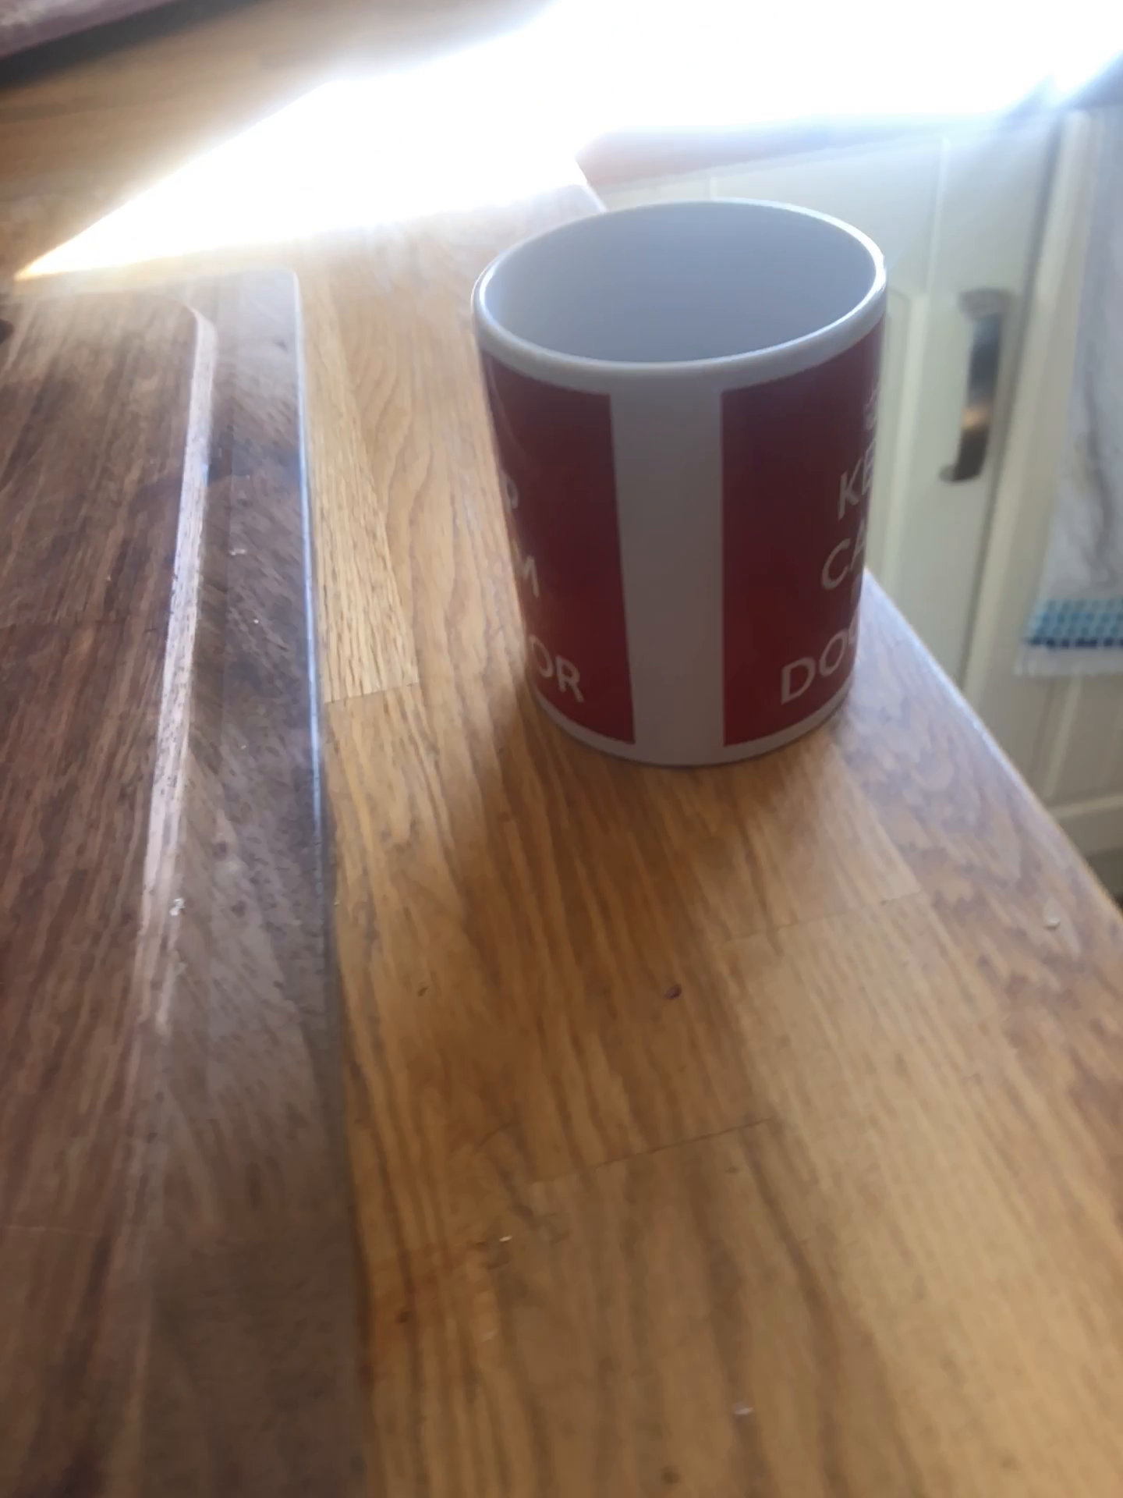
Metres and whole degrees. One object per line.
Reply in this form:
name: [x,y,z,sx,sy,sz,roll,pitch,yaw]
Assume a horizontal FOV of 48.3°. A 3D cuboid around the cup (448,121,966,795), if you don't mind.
cup: [0.029,-0.071,0.292,0.089,0.094,0.124,-7,42,4]
